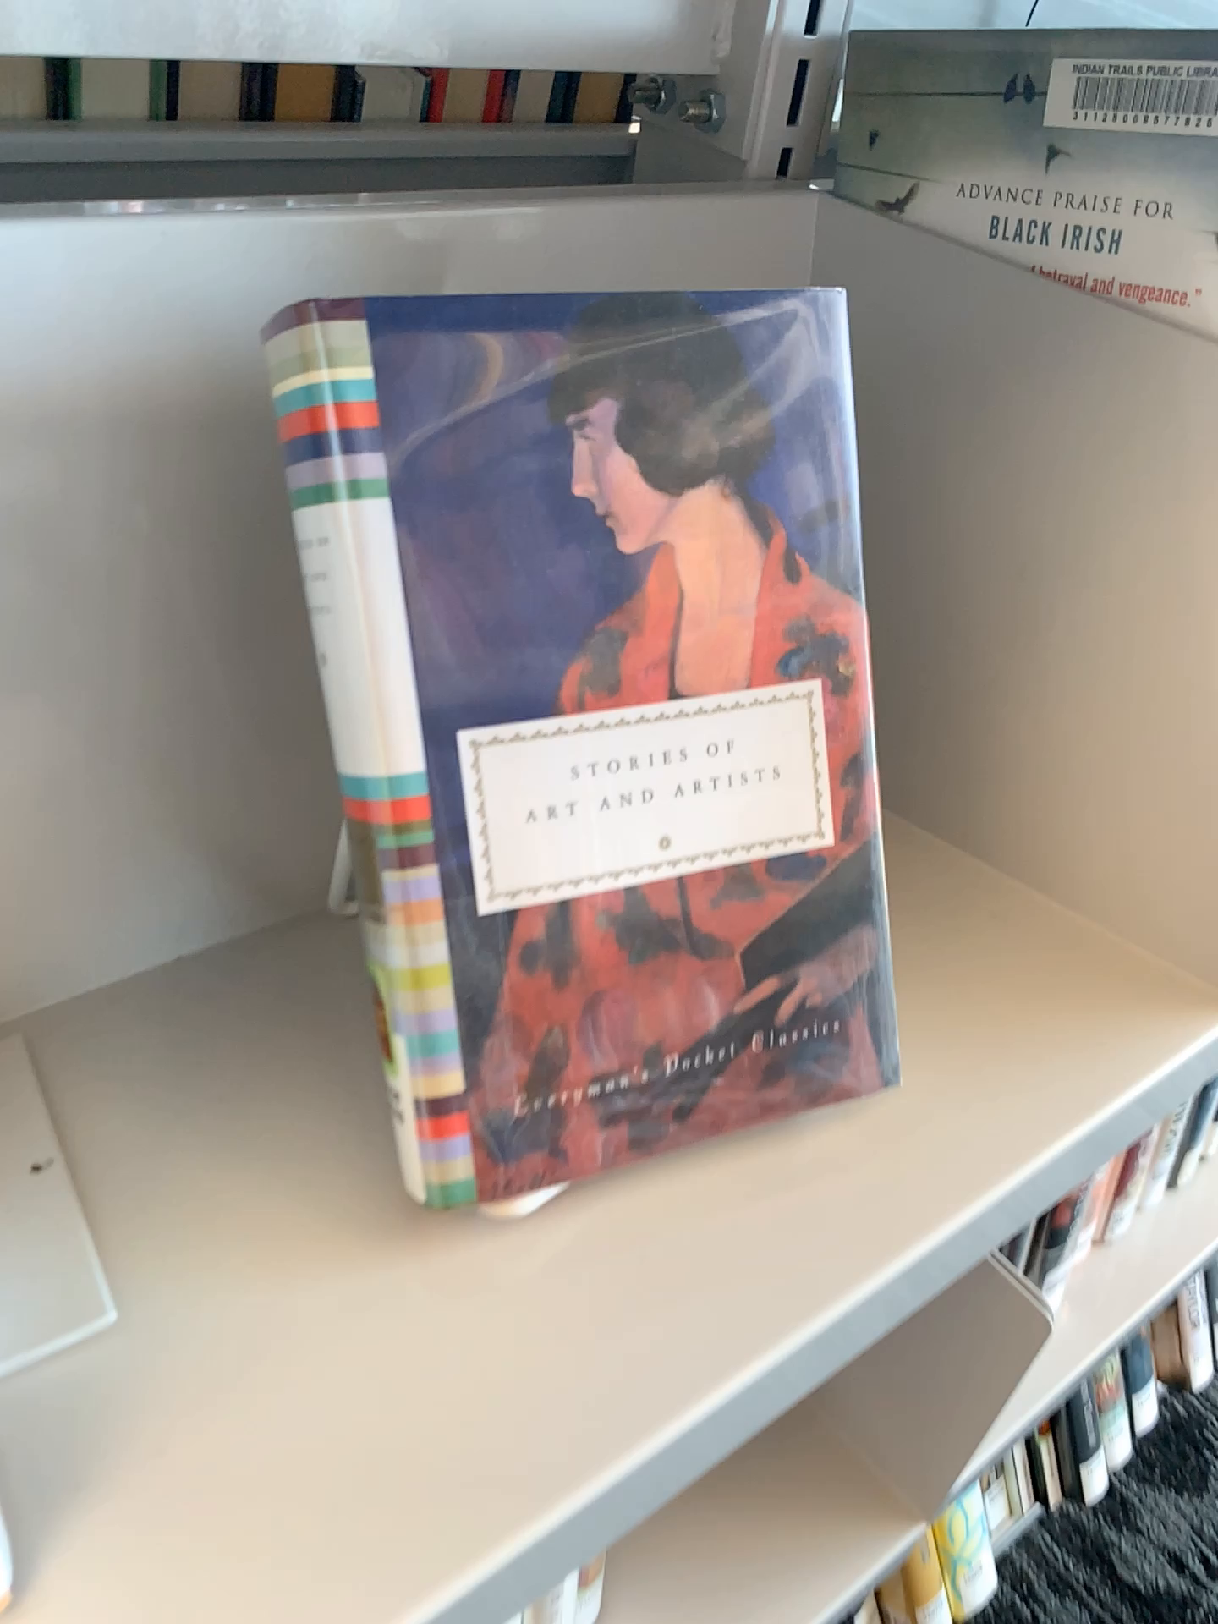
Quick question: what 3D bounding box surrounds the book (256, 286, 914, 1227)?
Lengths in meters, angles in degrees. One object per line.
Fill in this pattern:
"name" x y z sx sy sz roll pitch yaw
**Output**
"book" 0.000 -0.017 0.287 0.129 0.187 0.040 -9 11 -20
